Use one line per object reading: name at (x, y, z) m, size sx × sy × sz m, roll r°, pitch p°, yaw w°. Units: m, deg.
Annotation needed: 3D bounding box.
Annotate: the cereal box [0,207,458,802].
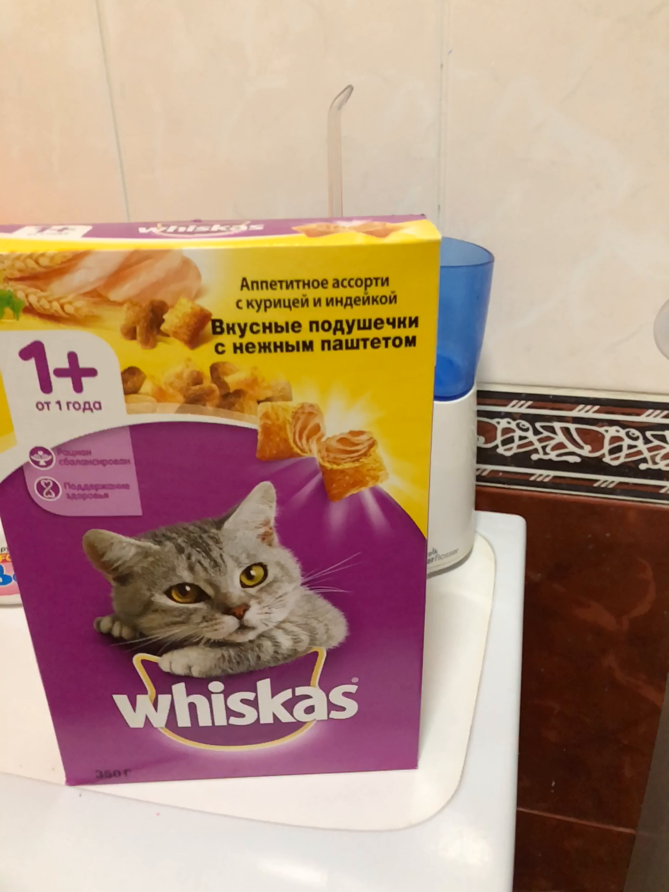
cereal box at (-0.038, 0.033, 0.268) m, size 0.150 × 0.219 × 0.040 m, roll -3°, pitch 27°, yaw -1°
